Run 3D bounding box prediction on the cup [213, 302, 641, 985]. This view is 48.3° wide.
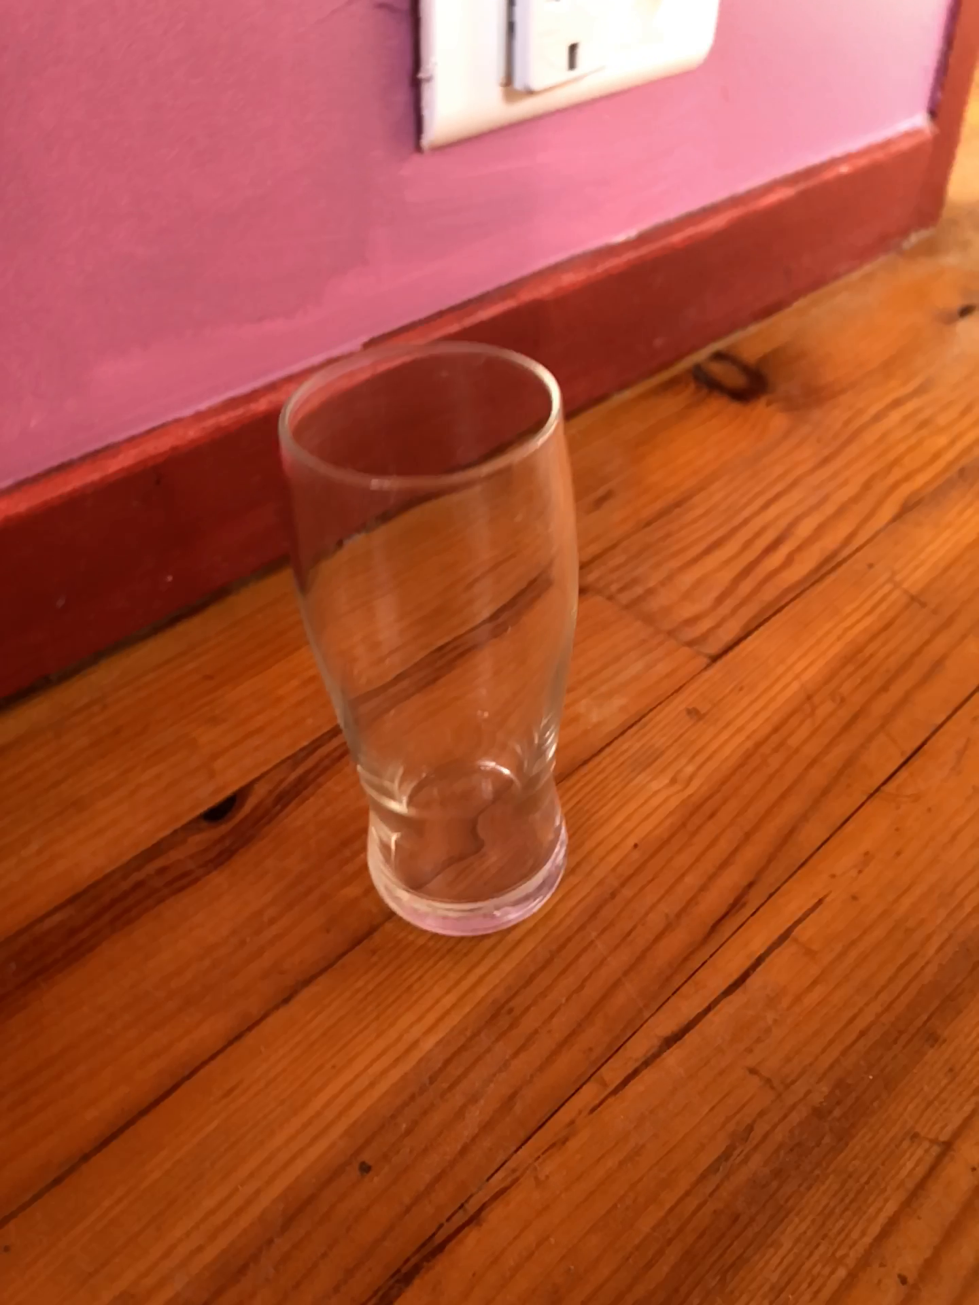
[{"bbox_3d":[-0.009,0.001,0.264,0.060,0.143,0.064,-1,39,1],"label":"cup"}]
